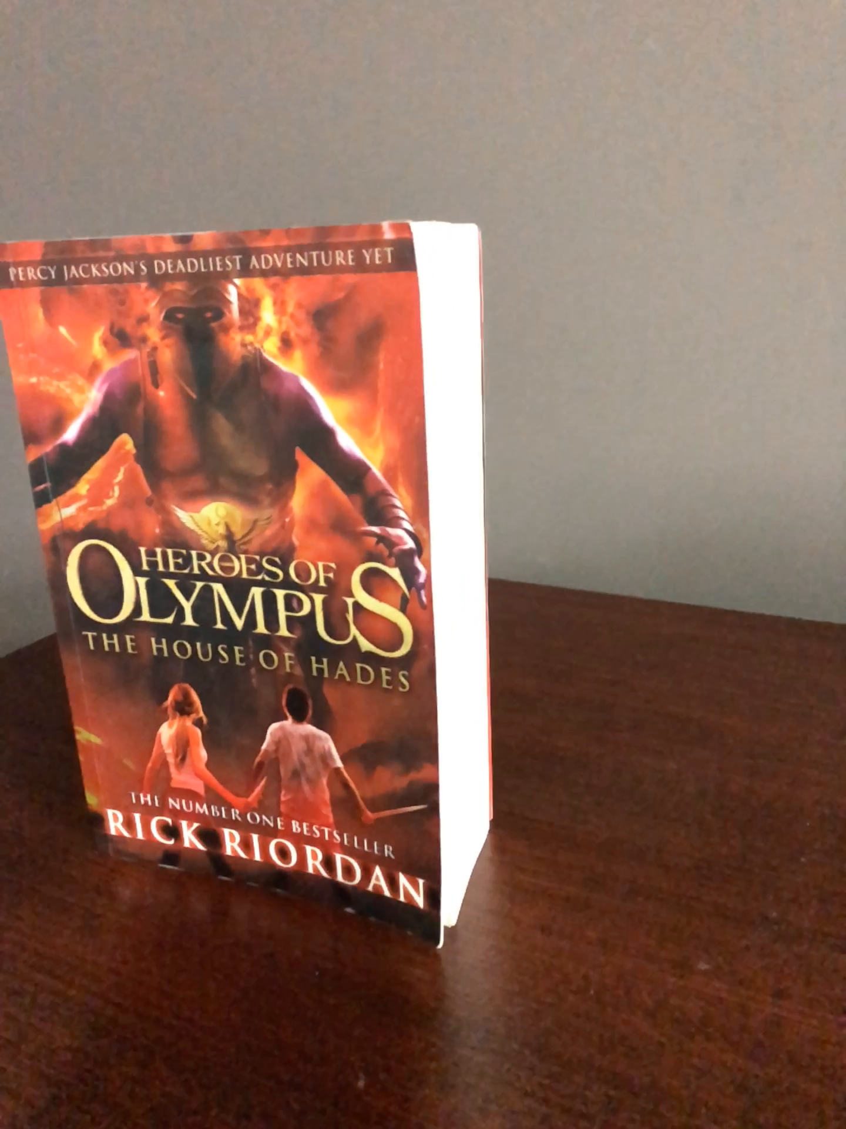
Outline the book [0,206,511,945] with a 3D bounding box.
[{"bbox_3d":[-0.050,0.000,0.288,0.140,0.199,0.060,4,20,19],"label":"book"}]
